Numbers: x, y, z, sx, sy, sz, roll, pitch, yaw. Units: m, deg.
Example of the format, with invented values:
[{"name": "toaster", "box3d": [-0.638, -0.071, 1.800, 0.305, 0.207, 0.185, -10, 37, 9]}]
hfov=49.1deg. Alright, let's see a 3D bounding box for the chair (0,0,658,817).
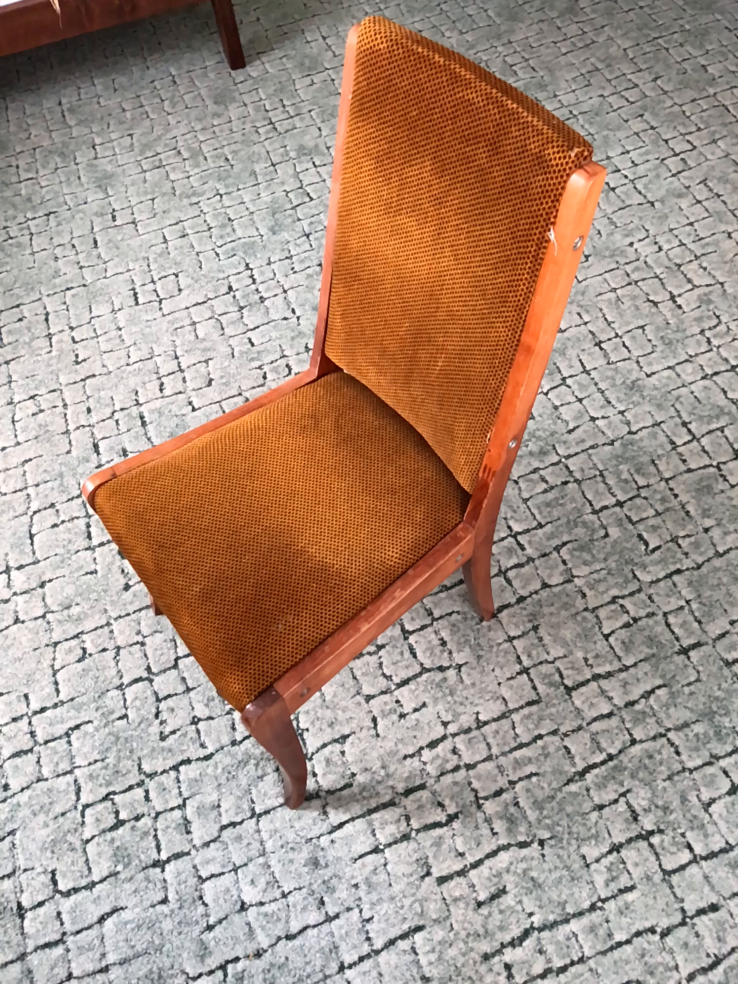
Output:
[{"name": "chair", "box3d": [-0.091, -0.035, 1.062, 0.529, 0.925, 0.472, -35, 61, -16]}]
